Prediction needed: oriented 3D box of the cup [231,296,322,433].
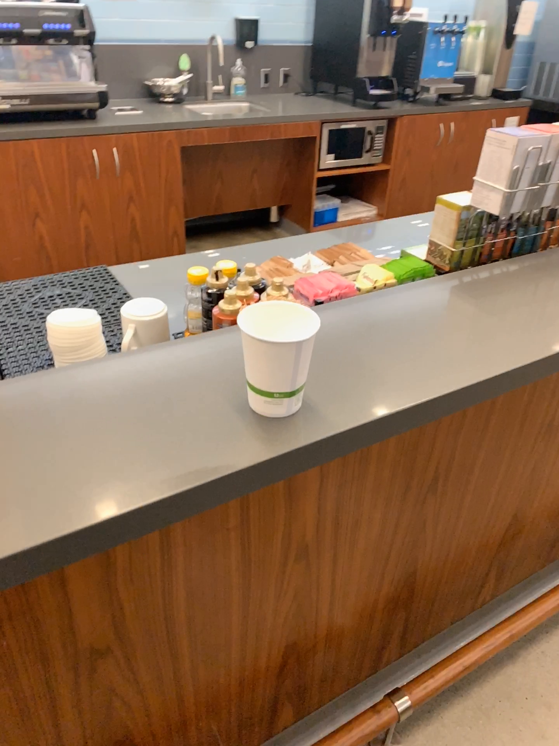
[{"bbox_3d":[-0.002,-0.011,0.631,0.090,0.109,0.101,4,33,1],"label":"cup"}]
